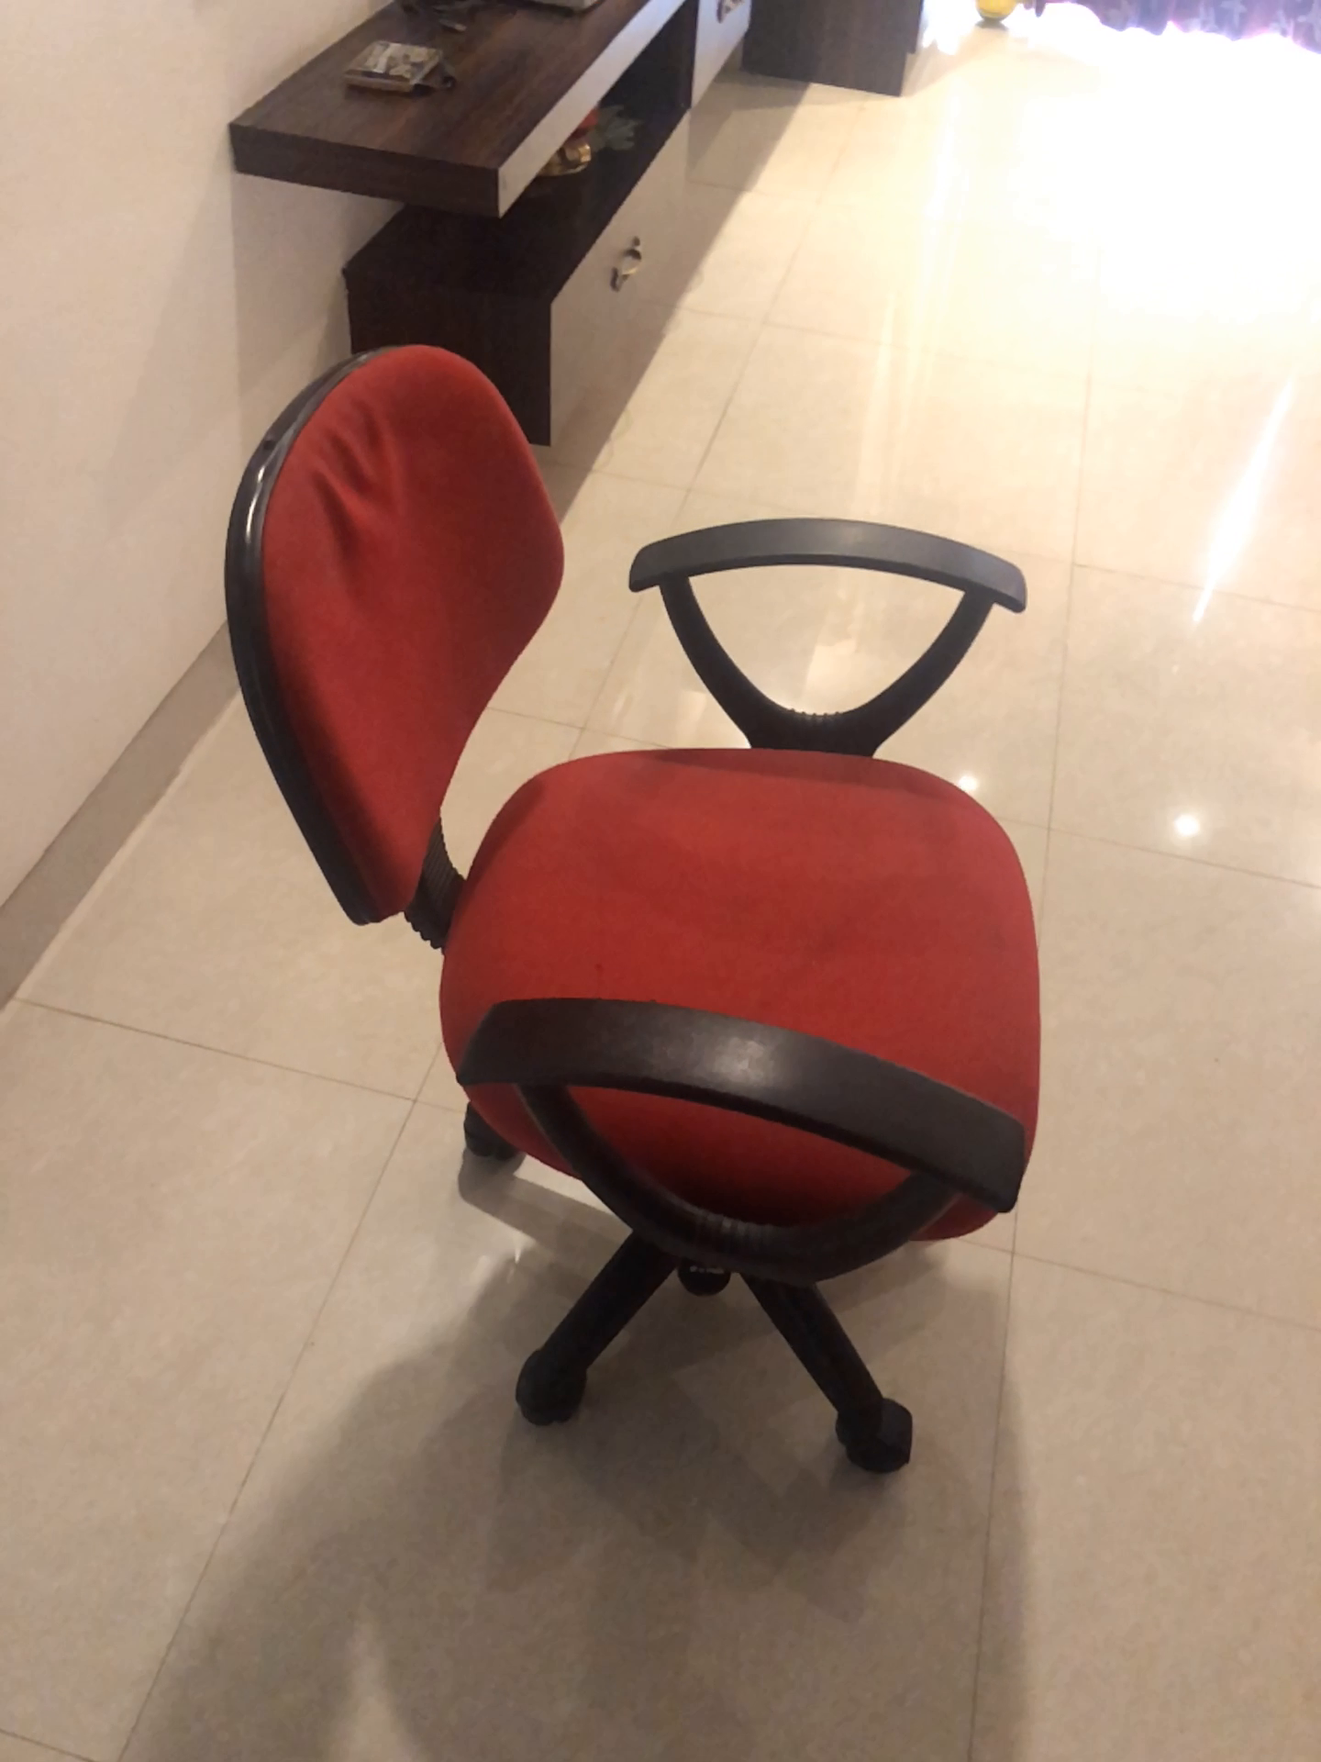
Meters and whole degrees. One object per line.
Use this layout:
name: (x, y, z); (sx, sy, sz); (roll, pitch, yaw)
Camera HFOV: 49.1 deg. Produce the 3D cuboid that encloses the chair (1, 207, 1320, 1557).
chair: (0.030, 0.022, 1.066); (0.600, 0.725, 0.544); (11, 46, 5)
